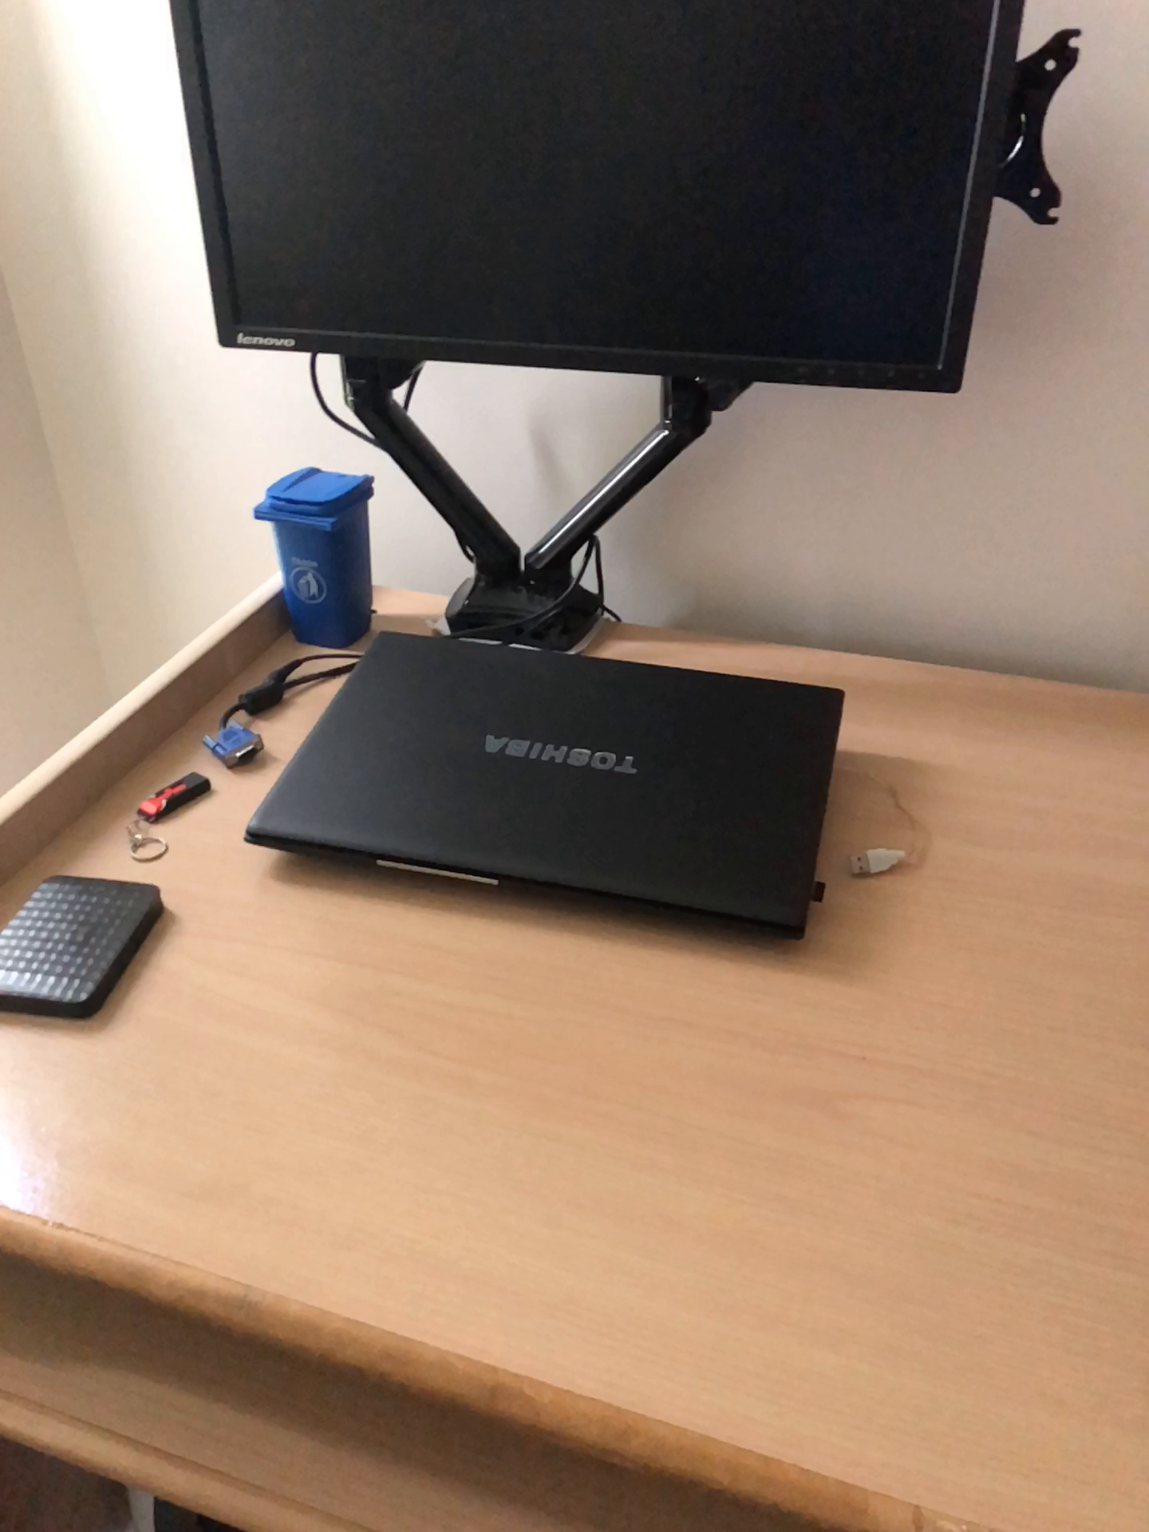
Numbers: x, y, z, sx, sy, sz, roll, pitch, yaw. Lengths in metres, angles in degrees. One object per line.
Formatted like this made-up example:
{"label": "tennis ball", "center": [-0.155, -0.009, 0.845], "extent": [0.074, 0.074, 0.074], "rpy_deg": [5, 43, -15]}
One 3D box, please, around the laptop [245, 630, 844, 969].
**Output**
{"label": "laptop", "center": [-0.009, 0.007, 0.925], "extent": [0.380, 0.029, 0.258], "rpy_deg": [9, 41, 13]}
